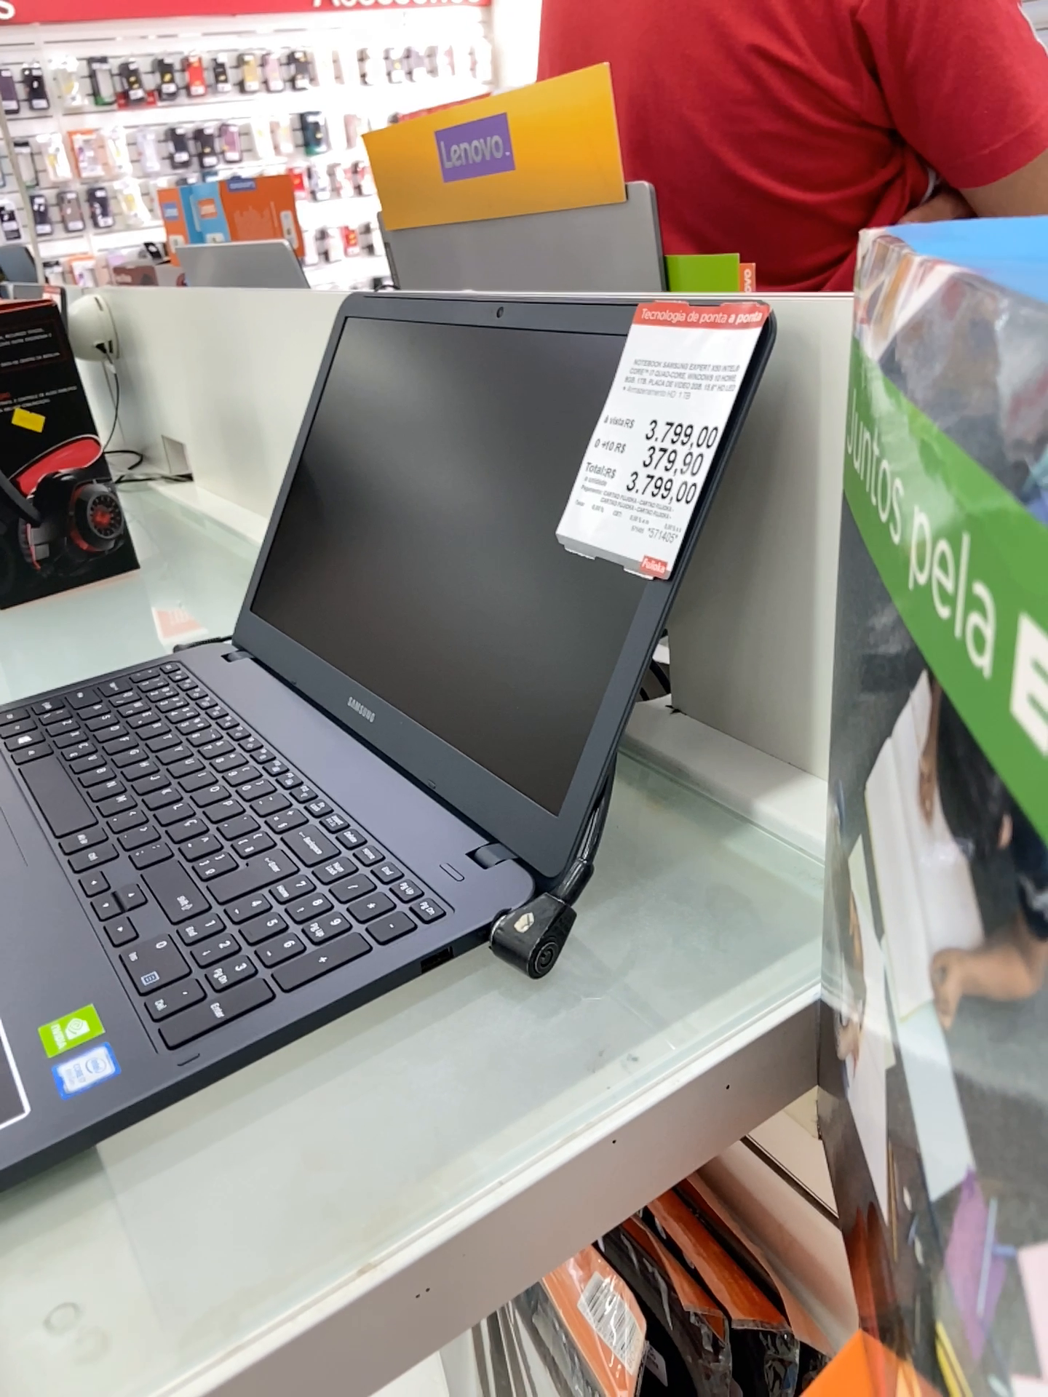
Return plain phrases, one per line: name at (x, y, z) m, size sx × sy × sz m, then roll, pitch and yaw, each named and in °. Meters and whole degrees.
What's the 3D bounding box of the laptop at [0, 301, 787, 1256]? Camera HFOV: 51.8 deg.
laptop at (-0.153, -0.048, 0.486) m, size 0.369 × 0.192 × 0.372 m, roll -21°, pitch 28°, yaw -27°
